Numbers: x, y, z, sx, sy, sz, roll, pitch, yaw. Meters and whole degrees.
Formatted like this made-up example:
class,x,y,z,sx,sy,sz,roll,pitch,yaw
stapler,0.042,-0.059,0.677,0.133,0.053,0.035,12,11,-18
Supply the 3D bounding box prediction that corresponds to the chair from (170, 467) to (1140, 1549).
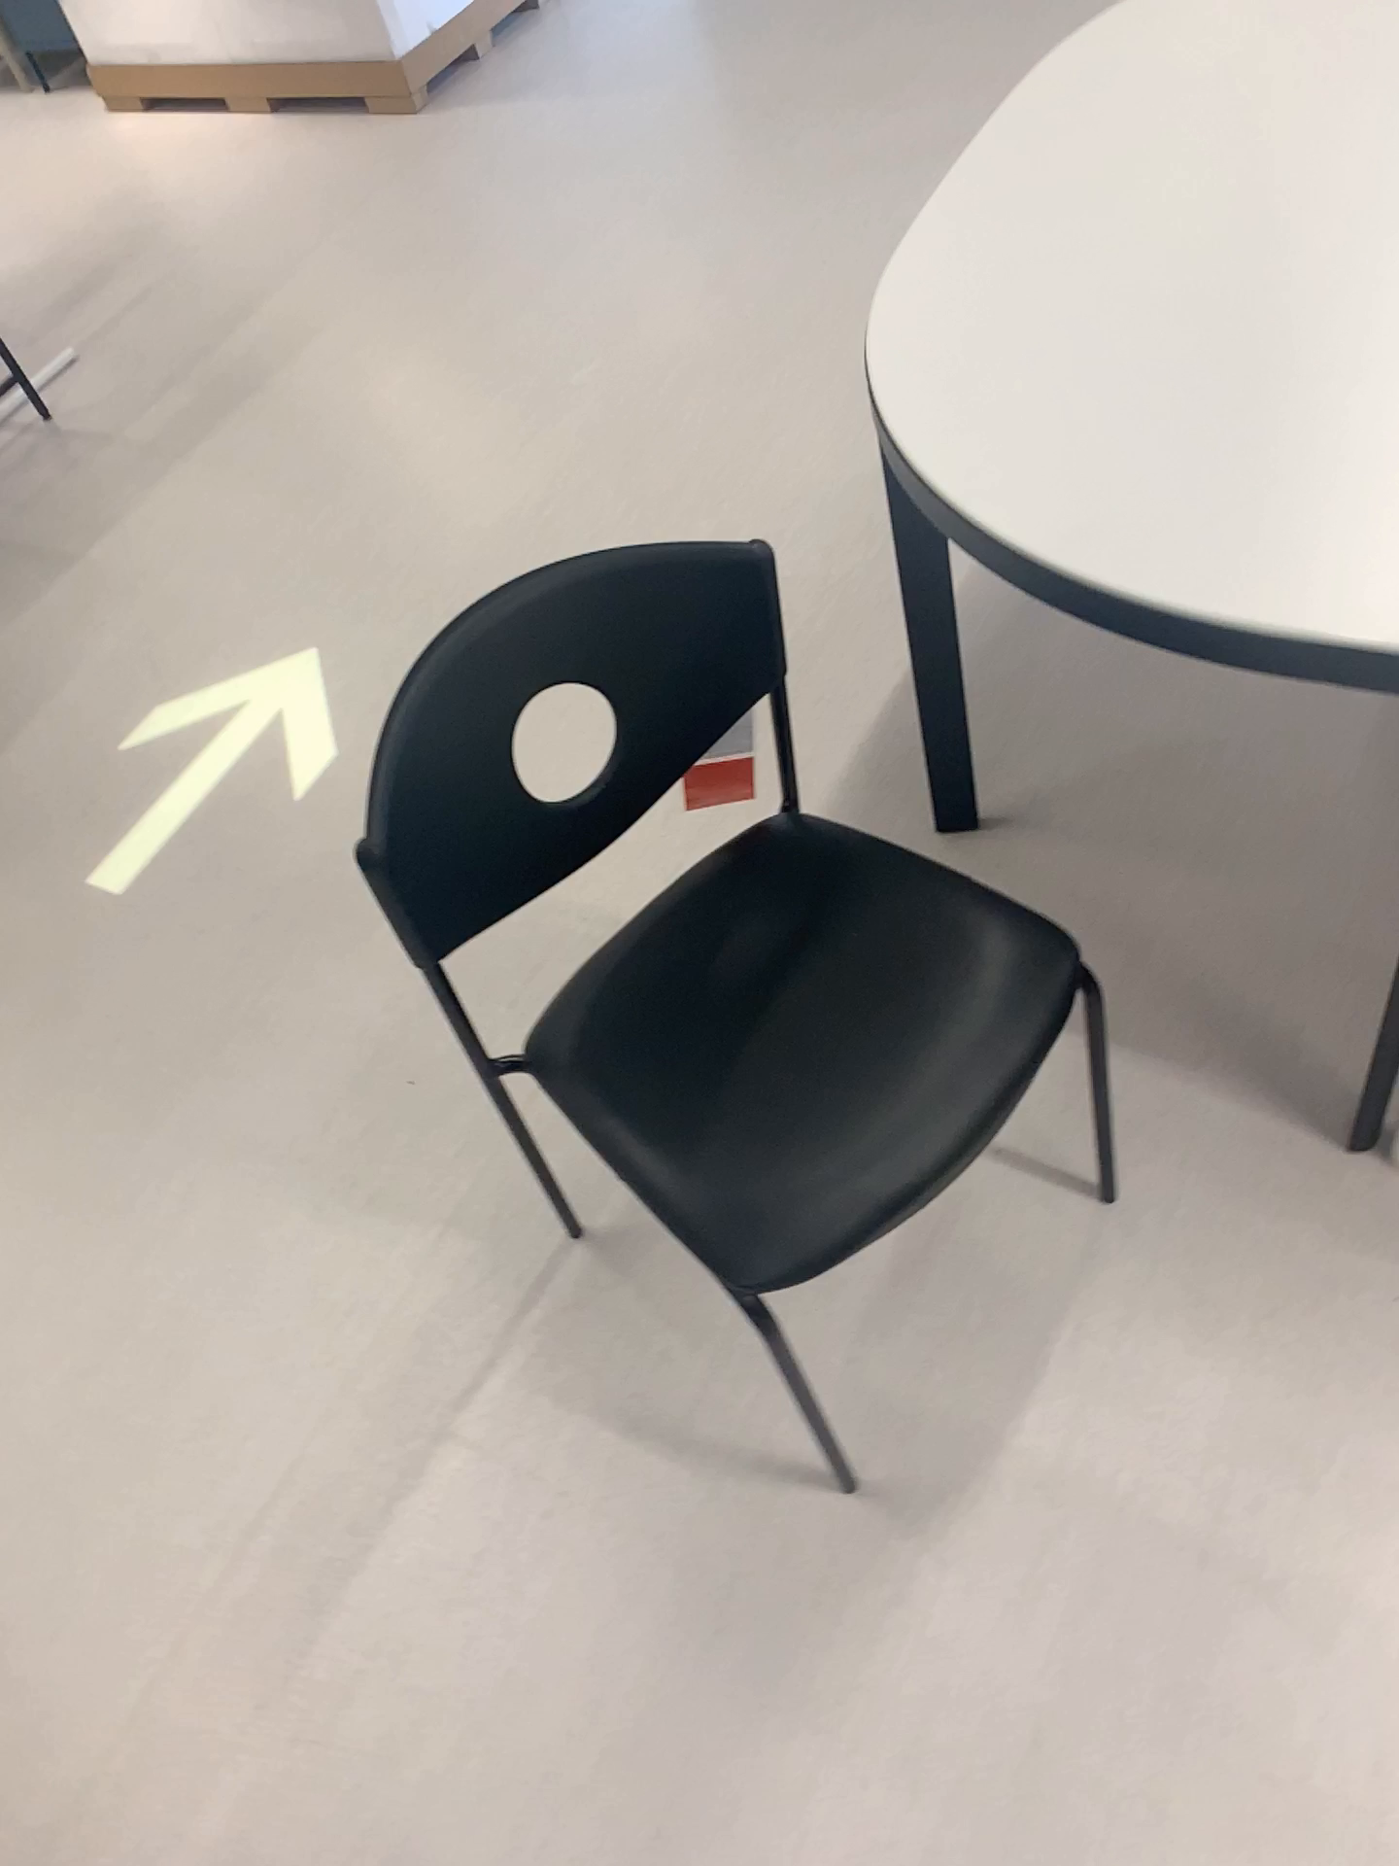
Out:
class,x,y,z,sx,sy,sz,roll,pitch,yaw
chair,0.020,0.084,1.371,0.510,0.738,0.582,-43,53,-19
